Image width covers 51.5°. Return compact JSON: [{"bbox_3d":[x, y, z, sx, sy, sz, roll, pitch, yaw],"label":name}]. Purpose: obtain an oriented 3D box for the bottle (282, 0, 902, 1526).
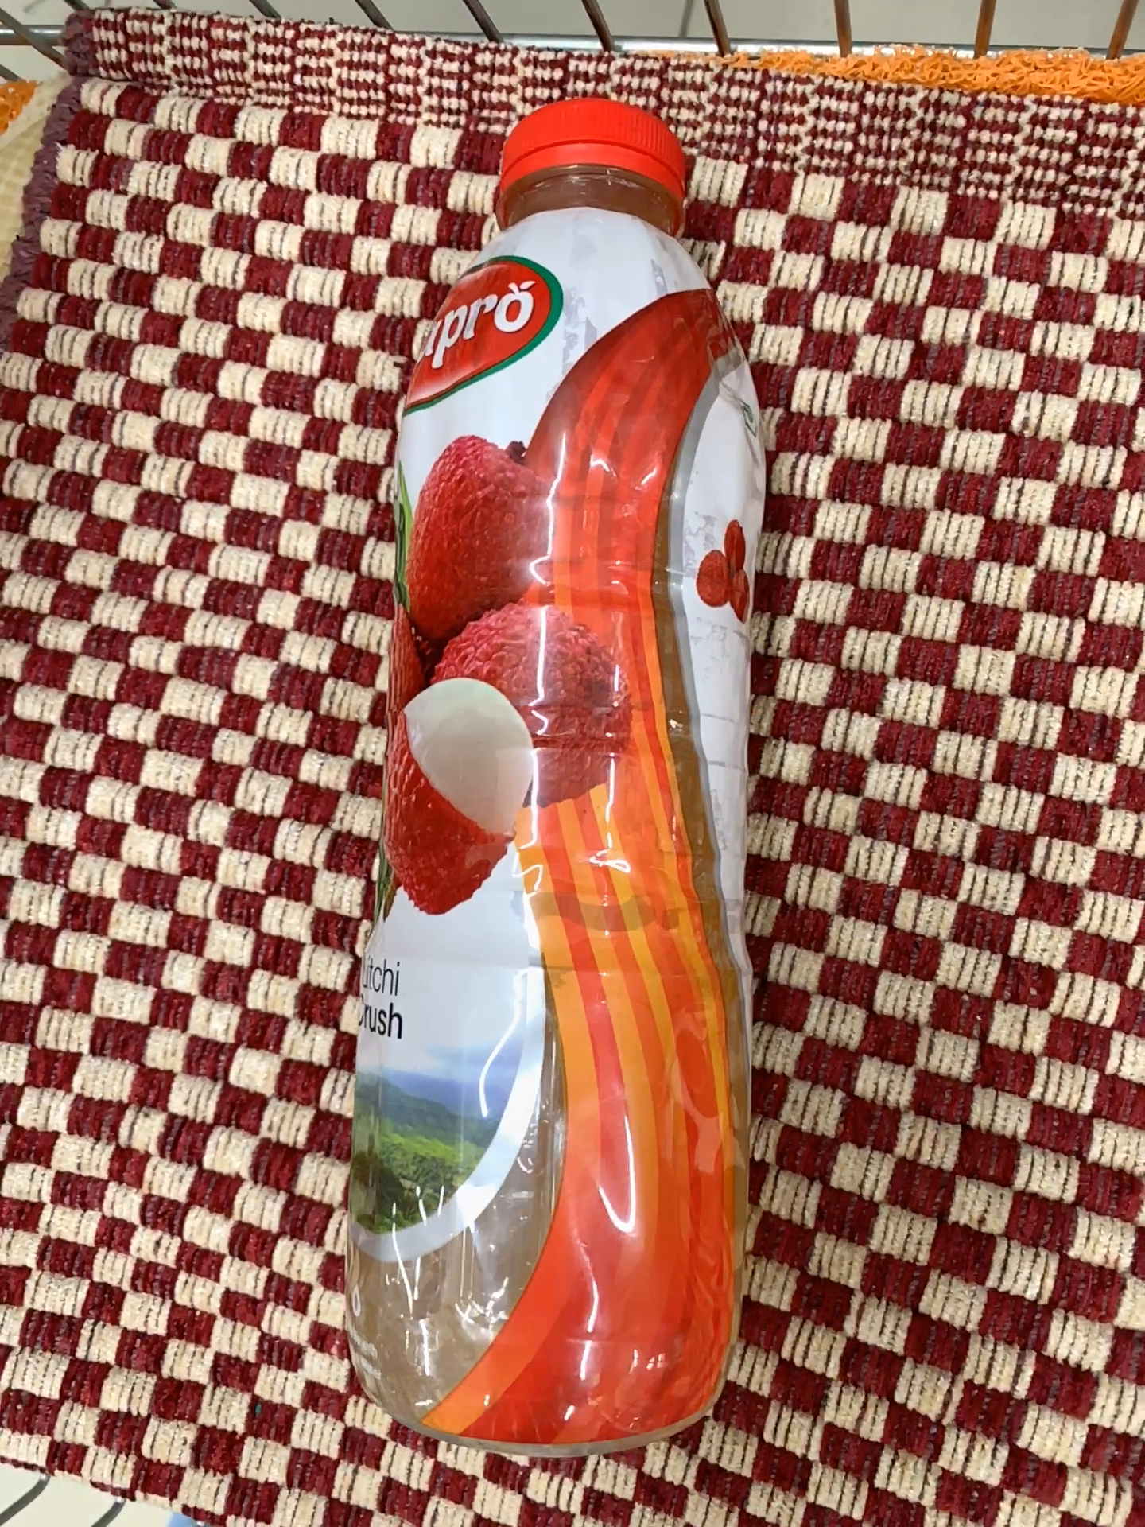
[{"bbox_3d":[0.002,-0.005,0.222,0.080,0.070,0.240,4,88,-30],"label":"bottle"}]
